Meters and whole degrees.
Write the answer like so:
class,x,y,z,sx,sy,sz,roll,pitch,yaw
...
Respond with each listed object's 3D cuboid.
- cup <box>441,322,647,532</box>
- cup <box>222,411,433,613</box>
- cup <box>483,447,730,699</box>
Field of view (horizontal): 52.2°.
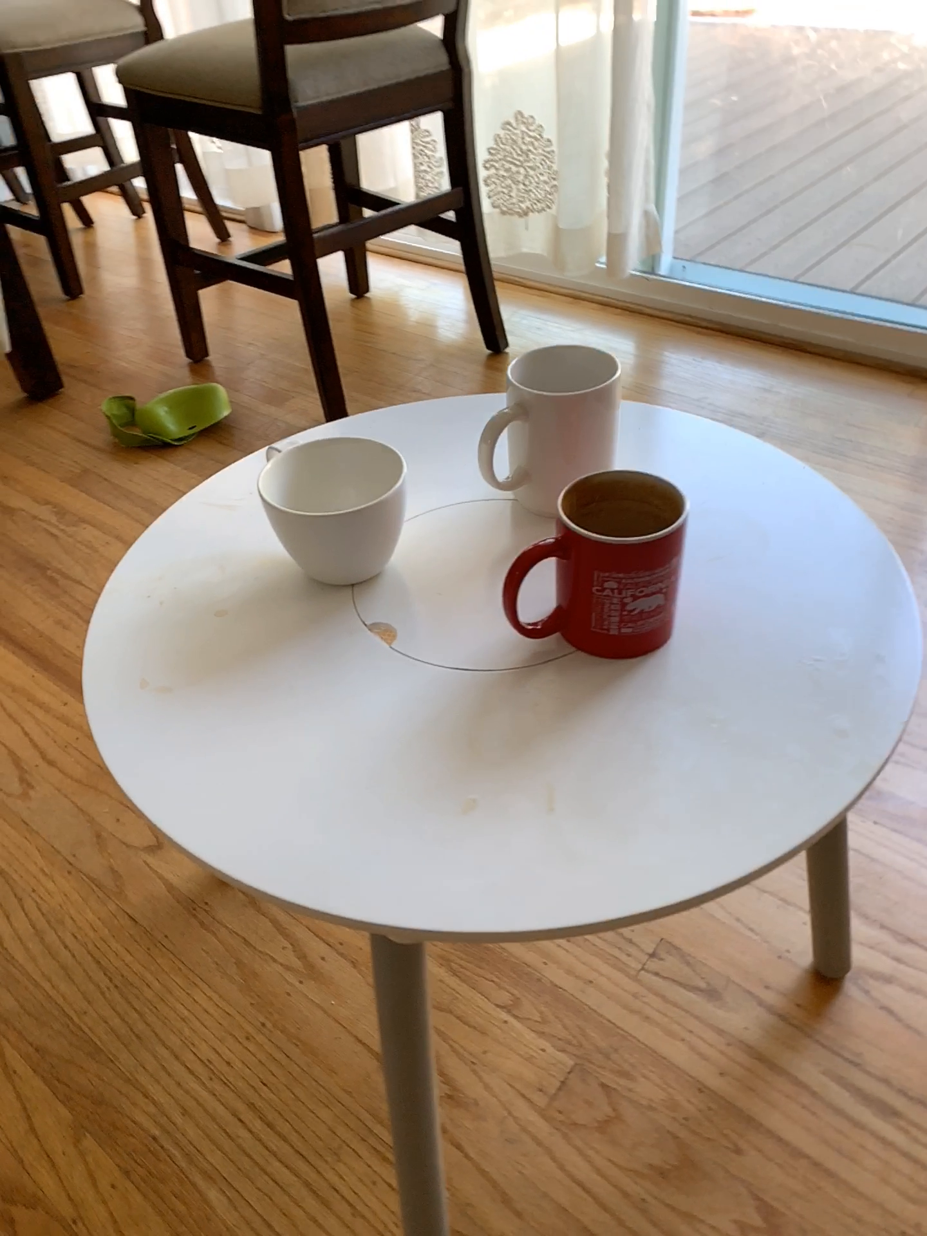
class,x,y,z,sx,sy,sz,roll,pitch,yaw
cup,0.061,-0.149,0.724,0.120,0.099,0.090,-26,44,-24
cup,-0.103,-0.084,0.713,0.110,0.070,0.131,-20,42,-18
cup,0.091,-0.032,0.619,0.130,0.099,0.080,-23,43,-21
